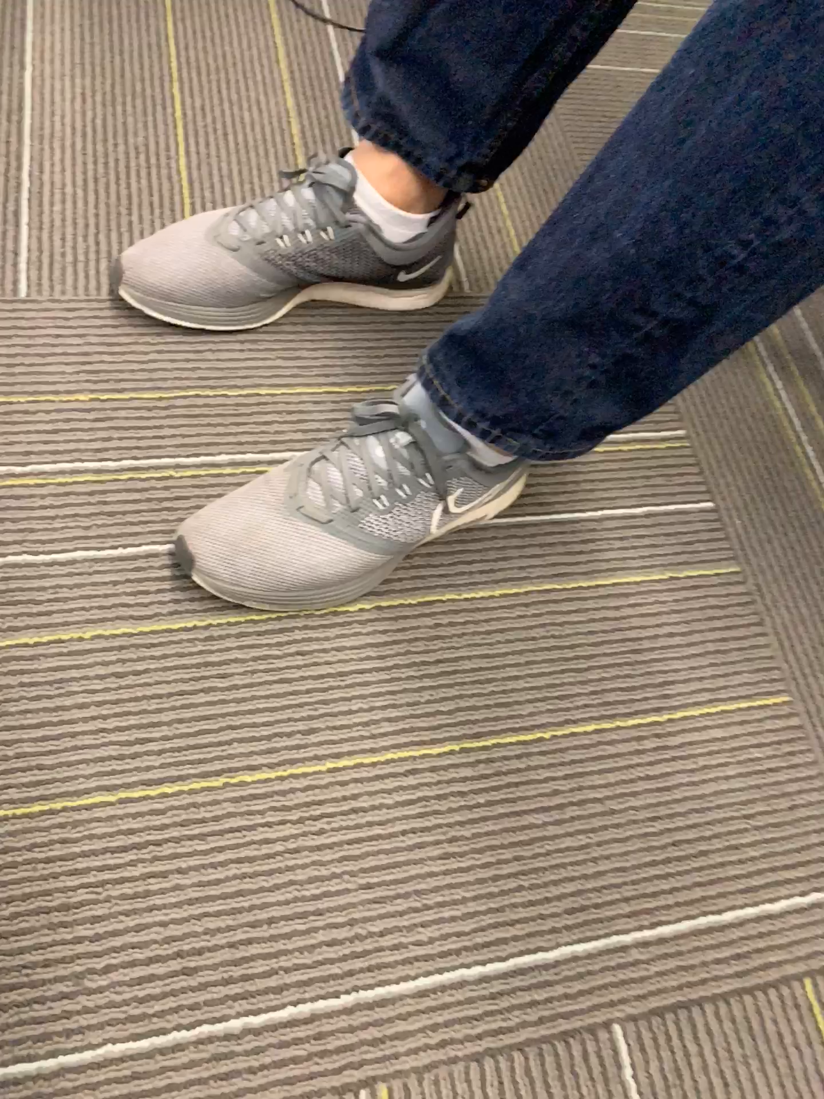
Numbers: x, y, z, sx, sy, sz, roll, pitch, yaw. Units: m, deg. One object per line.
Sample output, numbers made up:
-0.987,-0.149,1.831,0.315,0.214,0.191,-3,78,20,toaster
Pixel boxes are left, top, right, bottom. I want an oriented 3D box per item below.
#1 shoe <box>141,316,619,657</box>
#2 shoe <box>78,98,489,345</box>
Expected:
-0.024,-0.048,0.603,0.290,0.123,0.120,-19,68,-20,shoe
-0.104,-0.272,0.695,0.290,0.123,0.120,-10,66,-16,shoe
